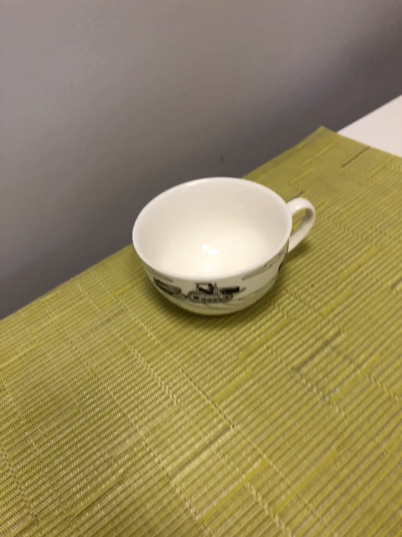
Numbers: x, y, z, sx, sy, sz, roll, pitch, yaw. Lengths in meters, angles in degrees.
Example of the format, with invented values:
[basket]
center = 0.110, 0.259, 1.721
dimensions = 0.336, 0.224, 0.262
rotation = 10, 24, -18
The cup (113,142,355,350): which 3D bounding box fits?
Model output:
[cup]
center = 0.018, -0.020, 0.280
dimensions = 0.113, 0.051, 0.089
rotation = -23, 45, -13
